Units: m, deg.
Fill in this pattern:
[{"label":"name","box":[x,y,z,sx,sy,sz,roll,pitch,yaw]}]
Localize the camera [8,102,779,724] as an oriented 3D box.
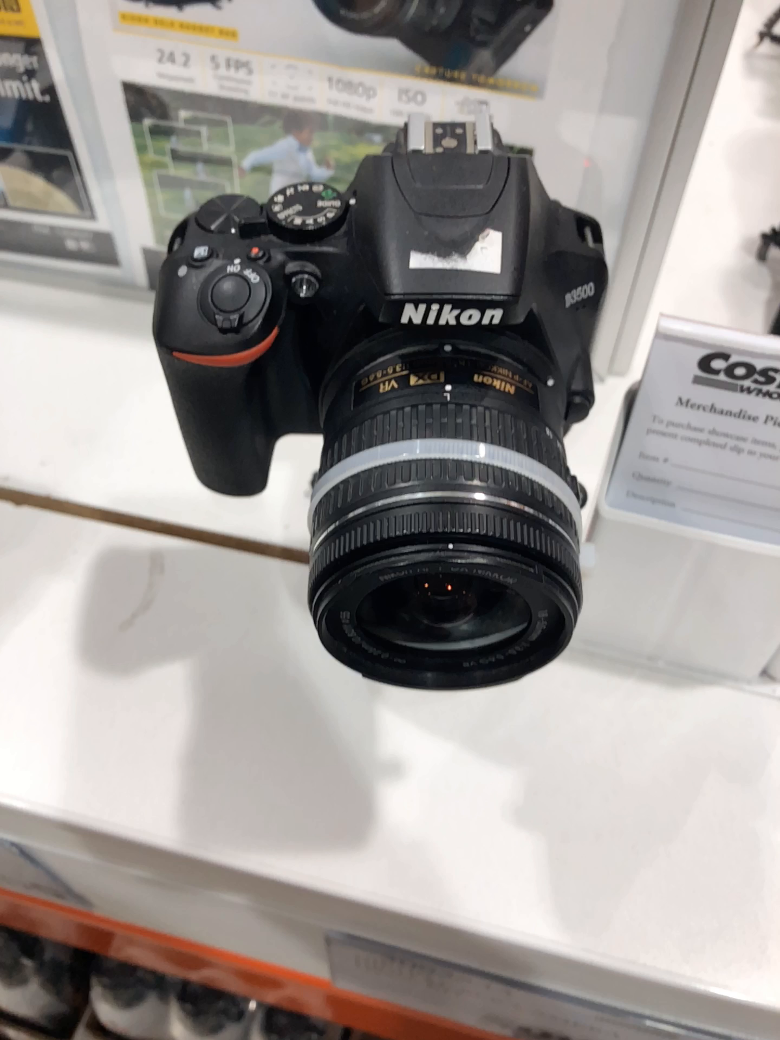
[{"label":"camera","box":[0.005,-0.027,0.224,0.140,0.100,0.120,-1,52,-1]}]
